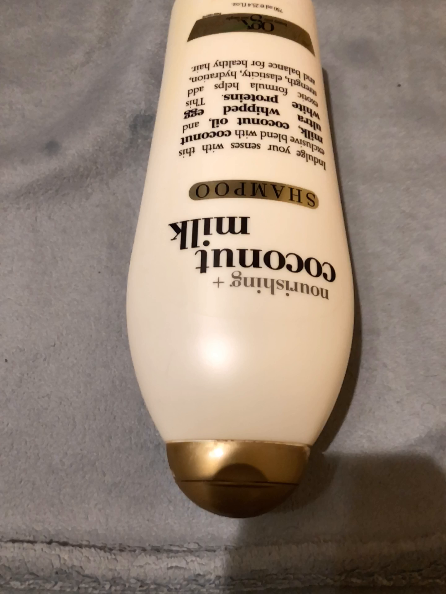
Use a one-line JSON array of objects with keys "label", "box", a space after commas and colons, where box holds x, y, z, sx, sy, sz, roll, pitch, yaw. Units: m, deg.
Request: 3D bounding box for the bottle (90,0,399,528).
[{"label": "bottle", "box": [0.010, -0.036, 0.189, 0.080, 0.040, 0.220, 3, 68, -1]}]
